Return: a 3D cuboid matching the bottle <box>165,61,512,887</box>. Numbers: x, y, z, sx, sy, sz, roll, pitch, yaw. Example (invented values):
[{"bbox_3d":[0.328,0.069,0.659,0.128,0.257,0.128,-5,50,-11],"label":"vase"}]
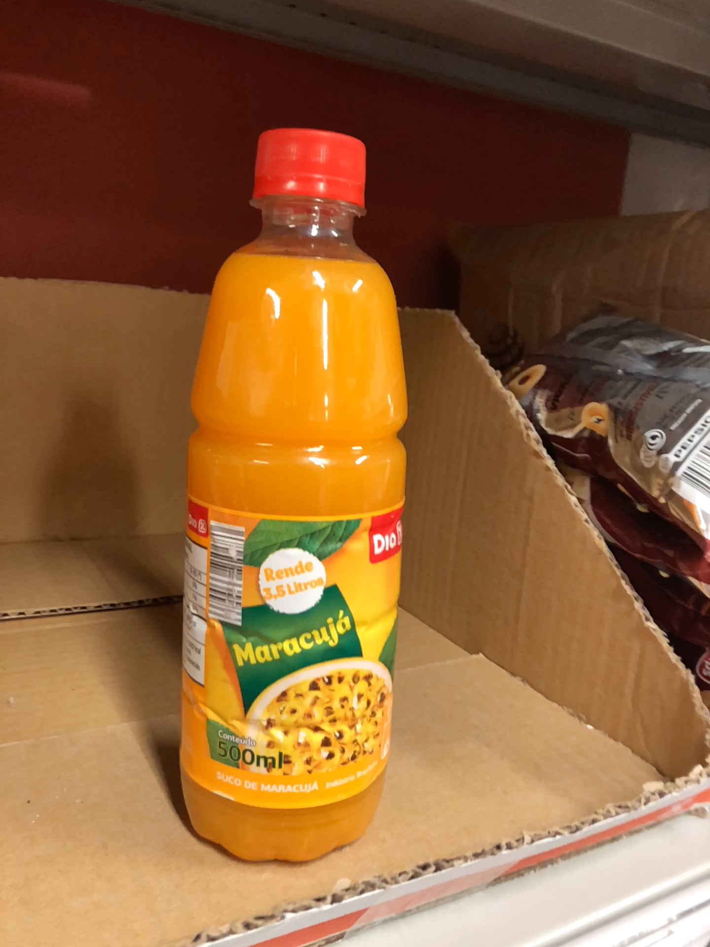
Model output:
[{"bbox_3d":[-0.014,0.002,0.230,0.070,0.199,0.070,4,12,-1],"label":"bottle"}]
